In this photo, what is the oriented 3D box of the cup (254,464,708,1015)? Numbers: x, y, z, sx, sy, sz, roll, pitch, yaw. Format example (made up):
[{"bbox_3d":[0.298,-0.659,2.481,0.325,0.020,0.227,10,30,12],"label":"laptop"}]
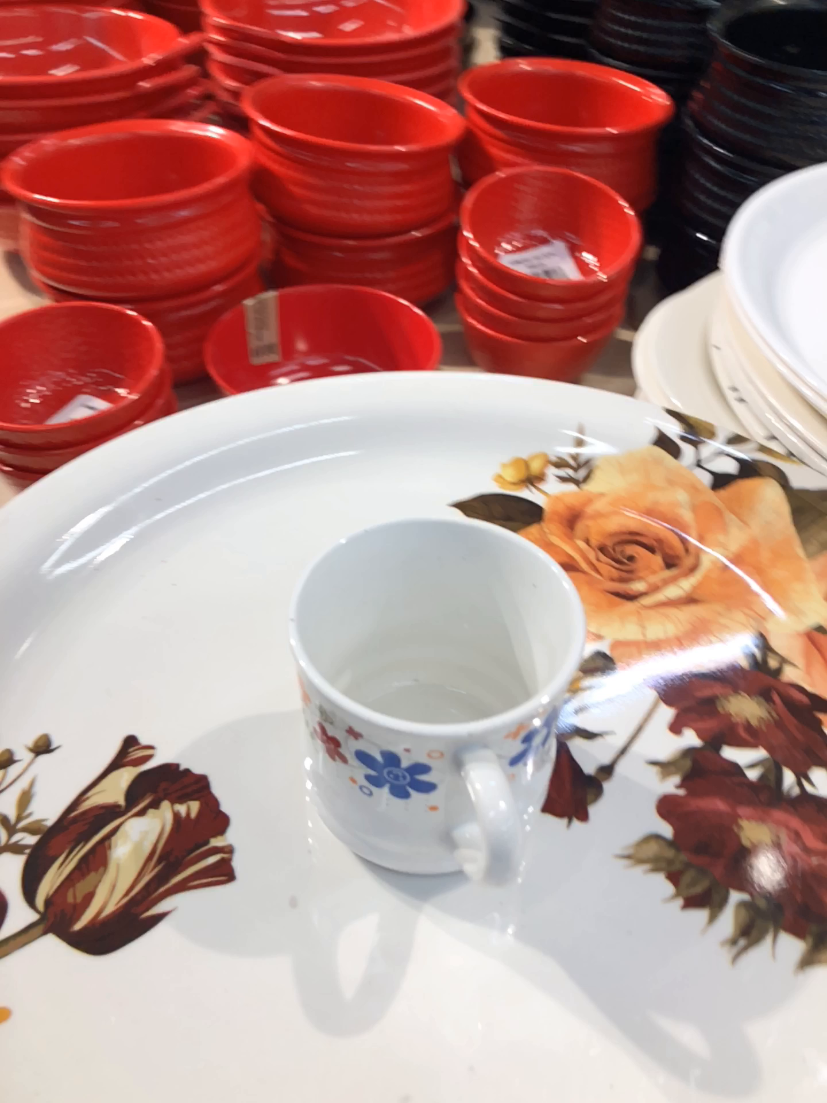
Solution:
[{"bbox_3d":[0.007,0.040,0.214,0.070,0.070,0.090,-10,46,-11],"label":"cup"}]
